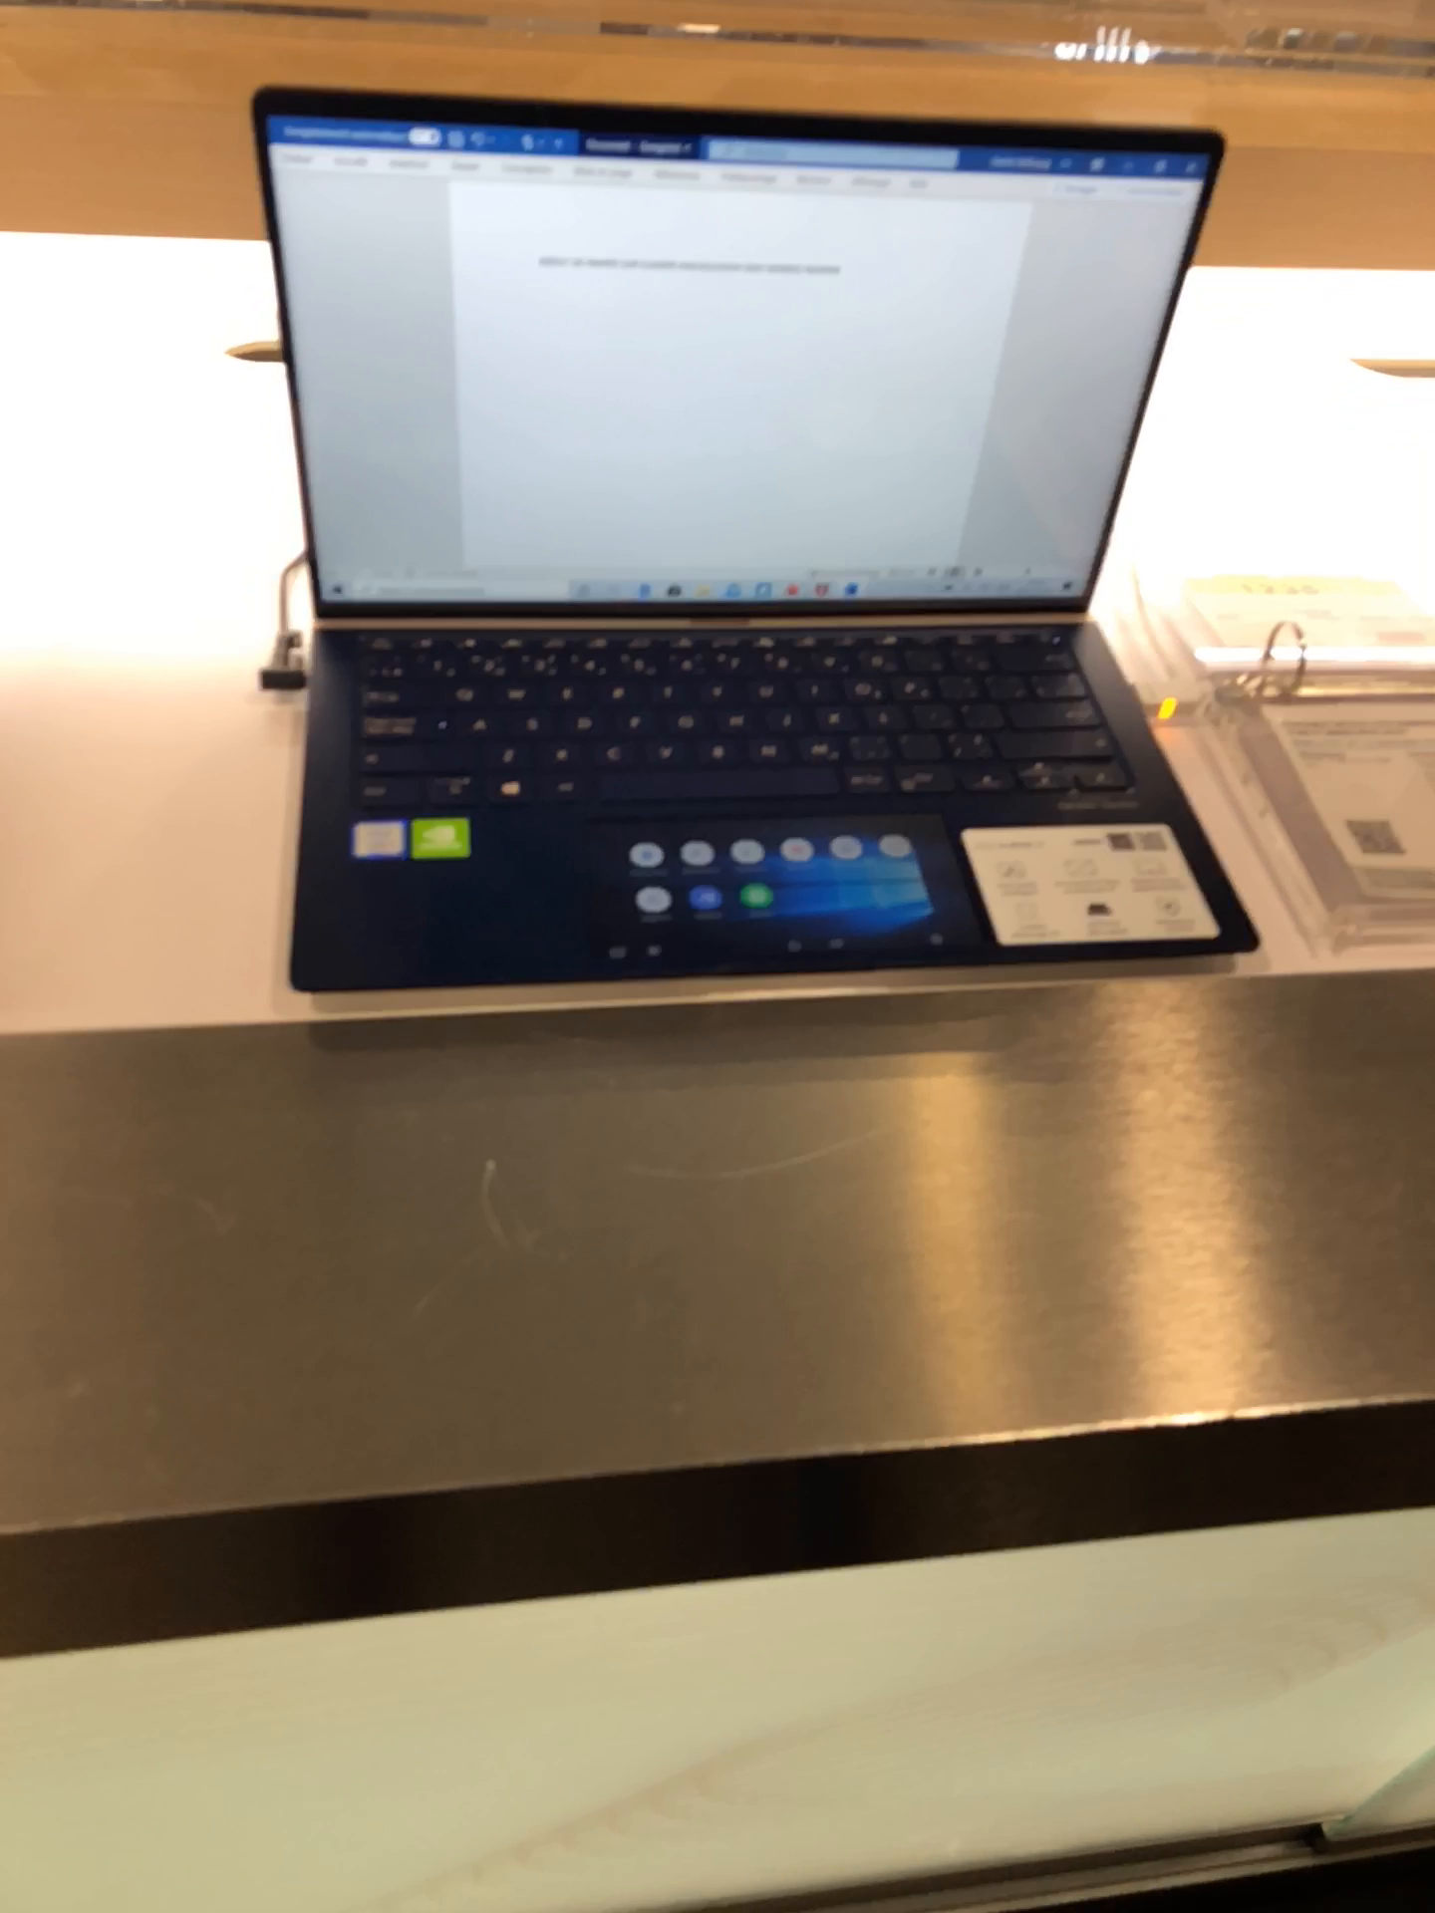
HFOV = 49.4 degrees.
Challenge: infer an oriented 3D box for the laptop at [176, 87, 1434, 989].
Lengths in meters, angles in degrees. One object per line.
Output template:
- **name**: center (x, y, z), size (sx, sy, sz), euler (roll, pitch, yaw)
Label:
- **laptop**: center (0.019, -0.134, 0.496), size (0.317, 0.193, 0.200), euler (-3, 46, -9)
